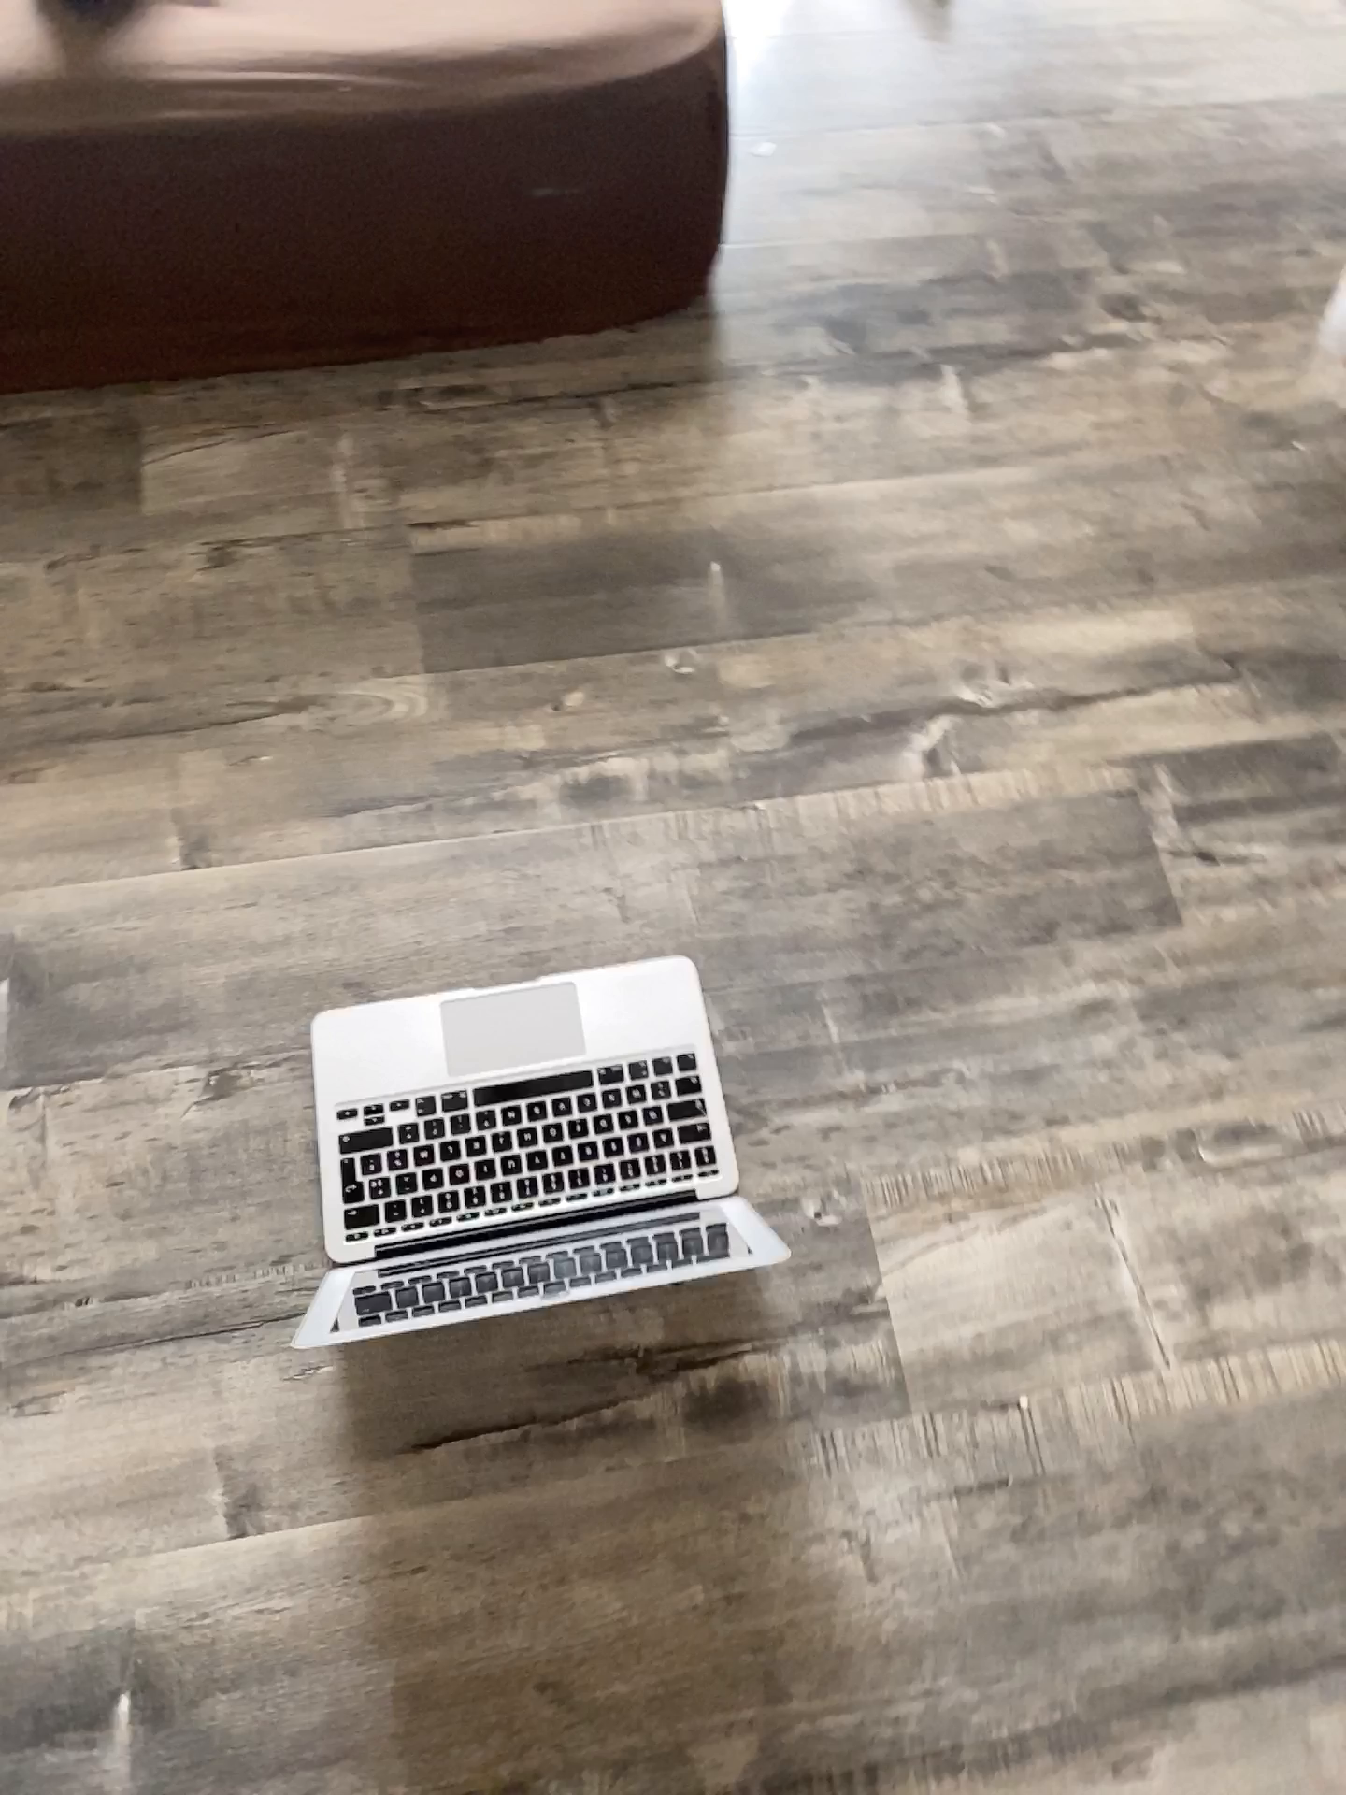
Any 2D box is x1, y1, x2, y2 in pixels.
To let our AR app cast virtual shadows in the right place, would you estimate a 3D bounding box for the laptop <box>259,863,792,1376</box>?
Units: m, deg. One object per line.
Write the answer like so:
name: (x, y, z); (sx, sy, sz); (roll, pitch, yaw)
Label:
laptop: (-0.100, 0.147, 0.905); (0.290, 0.160, 0.255); (-8, 67, -7)
